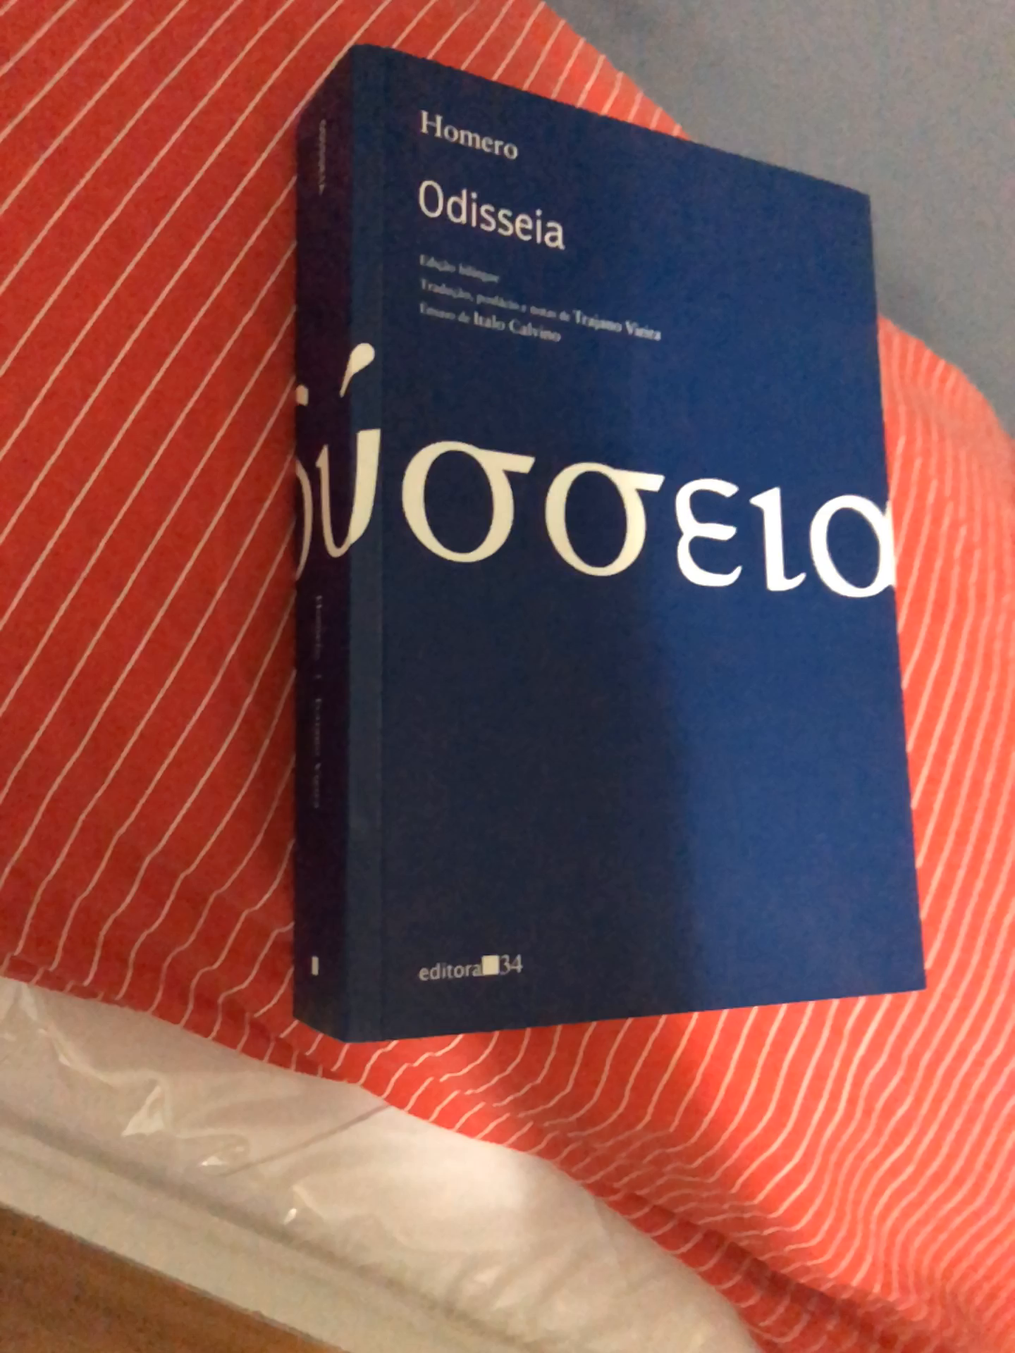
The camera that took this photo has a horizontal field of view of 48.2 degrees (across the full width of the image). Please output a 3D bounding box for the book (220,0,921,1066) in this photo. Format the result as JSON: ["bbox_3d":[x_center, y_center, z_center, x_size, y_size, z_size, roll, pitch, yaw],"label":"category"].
[{"bbox_3d":[0.018,-0.032,0.291,0.171,0.040,0.230,2,81,-24],"label":"book"}]
